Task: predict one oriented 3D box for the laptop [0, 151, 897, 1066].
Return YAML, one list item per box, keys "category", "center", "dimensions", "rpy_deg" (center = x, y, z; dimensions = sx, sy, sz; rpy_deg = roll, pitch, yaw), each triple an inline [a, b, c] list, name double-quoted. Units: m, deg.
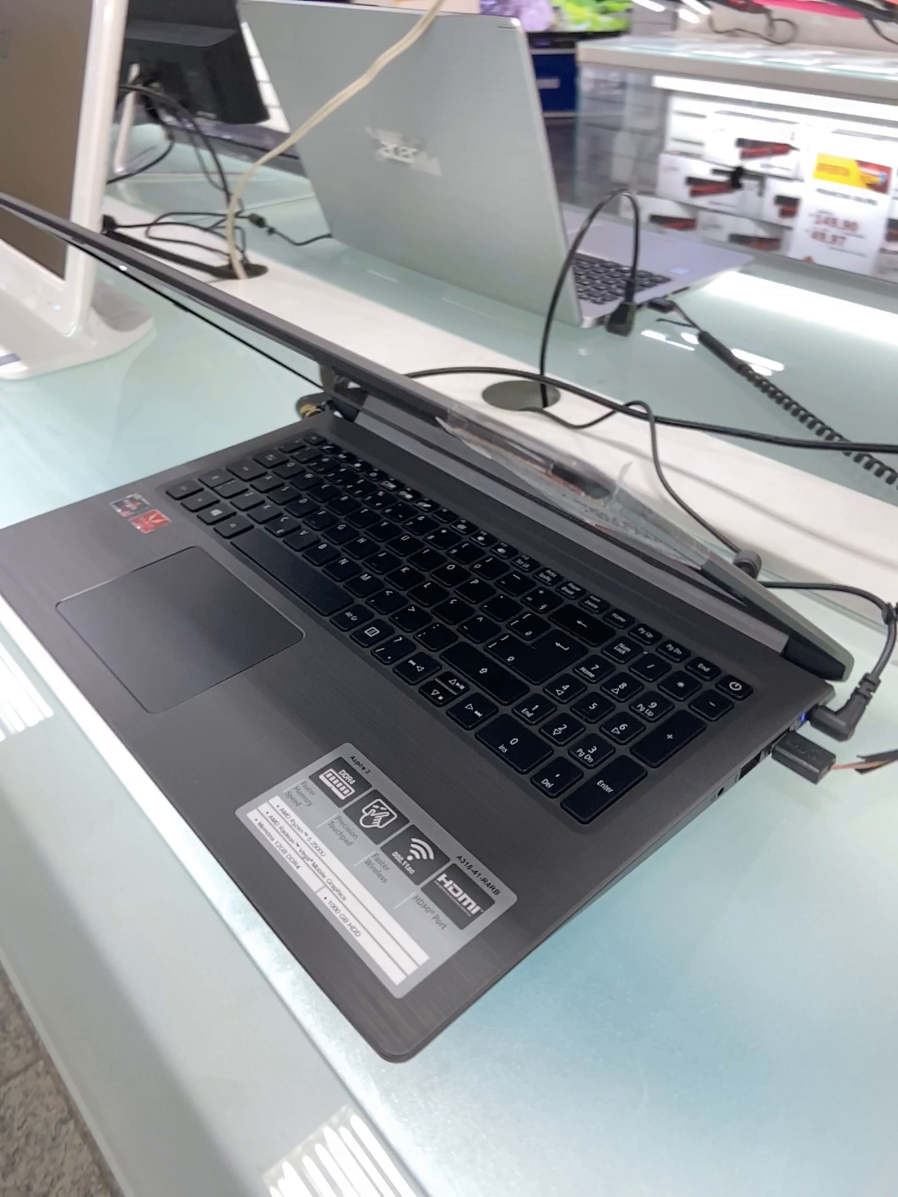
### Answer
- category: "laptop"
  center: [-0.045, -0.056, 0.372]
  dimensions: [0.221, 0.155, 0.344]
  rpy_deg: [-28, 43, -31]
